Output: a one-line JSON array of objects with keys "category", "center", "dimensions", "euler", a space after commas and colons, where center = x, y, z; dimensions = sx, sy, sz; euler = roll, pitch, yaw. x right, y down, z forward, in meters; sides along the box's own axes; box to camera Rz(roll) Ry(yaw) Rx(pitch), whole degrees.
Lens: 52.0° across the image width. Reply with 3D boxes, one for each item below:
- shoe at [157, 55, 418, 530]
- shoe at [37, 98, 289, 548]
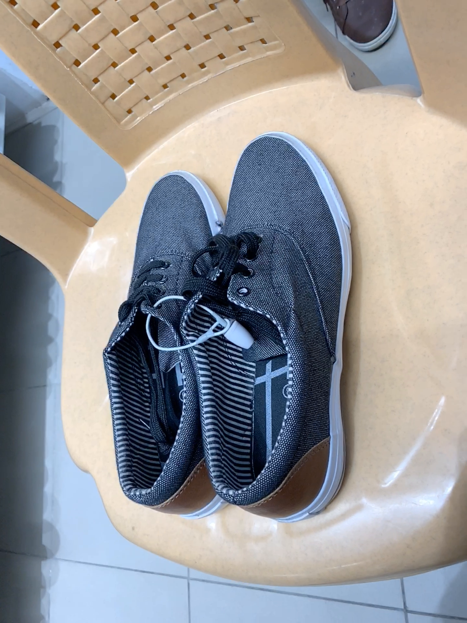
[{"category": "shoe", "center": [0.033, -0.006, 0.333], "dimensions": [0.110, 0.110, 0.270], "euler": [-15, 73, 30]}, {"category": "shoe", "center": [-0.054, 0.010, 0.338], "dimensions": [0.100, 0.110, 0.260], "euler": [-19, 71, 29]}]
